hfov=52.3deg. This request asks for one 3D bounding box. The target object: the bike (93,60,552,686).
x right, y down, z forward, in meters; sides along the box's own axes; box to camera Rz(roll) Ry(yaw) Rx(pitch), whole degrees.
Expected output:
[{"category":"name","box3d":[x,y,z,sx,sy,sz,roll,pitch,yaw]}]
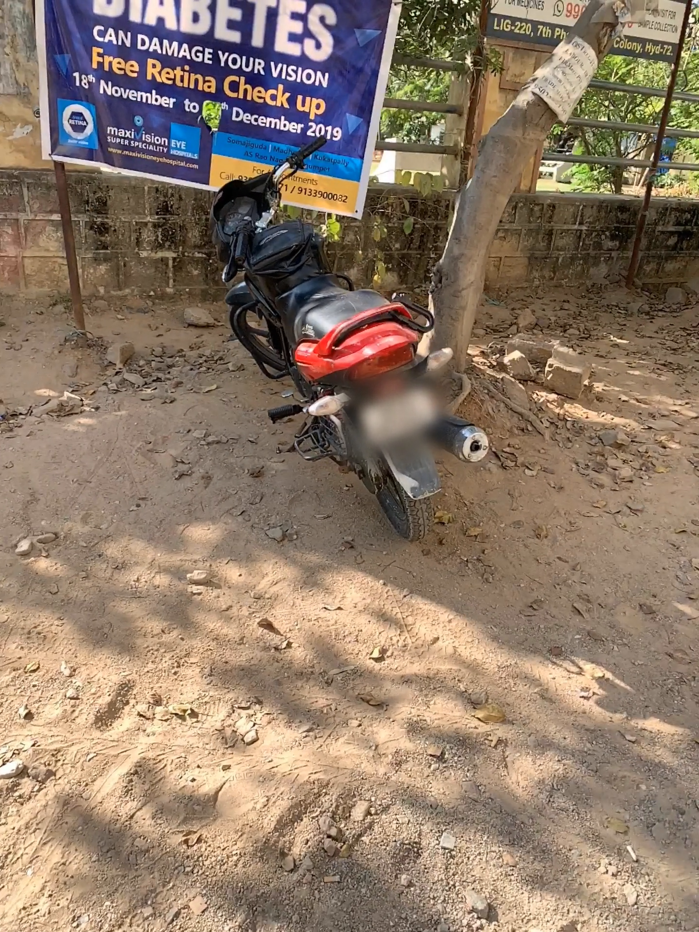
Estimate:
[{"category":"bike","box3d":[-0.276,-0.477,2.495,0.752,1.442,1.622,-9,32,-27]}]
